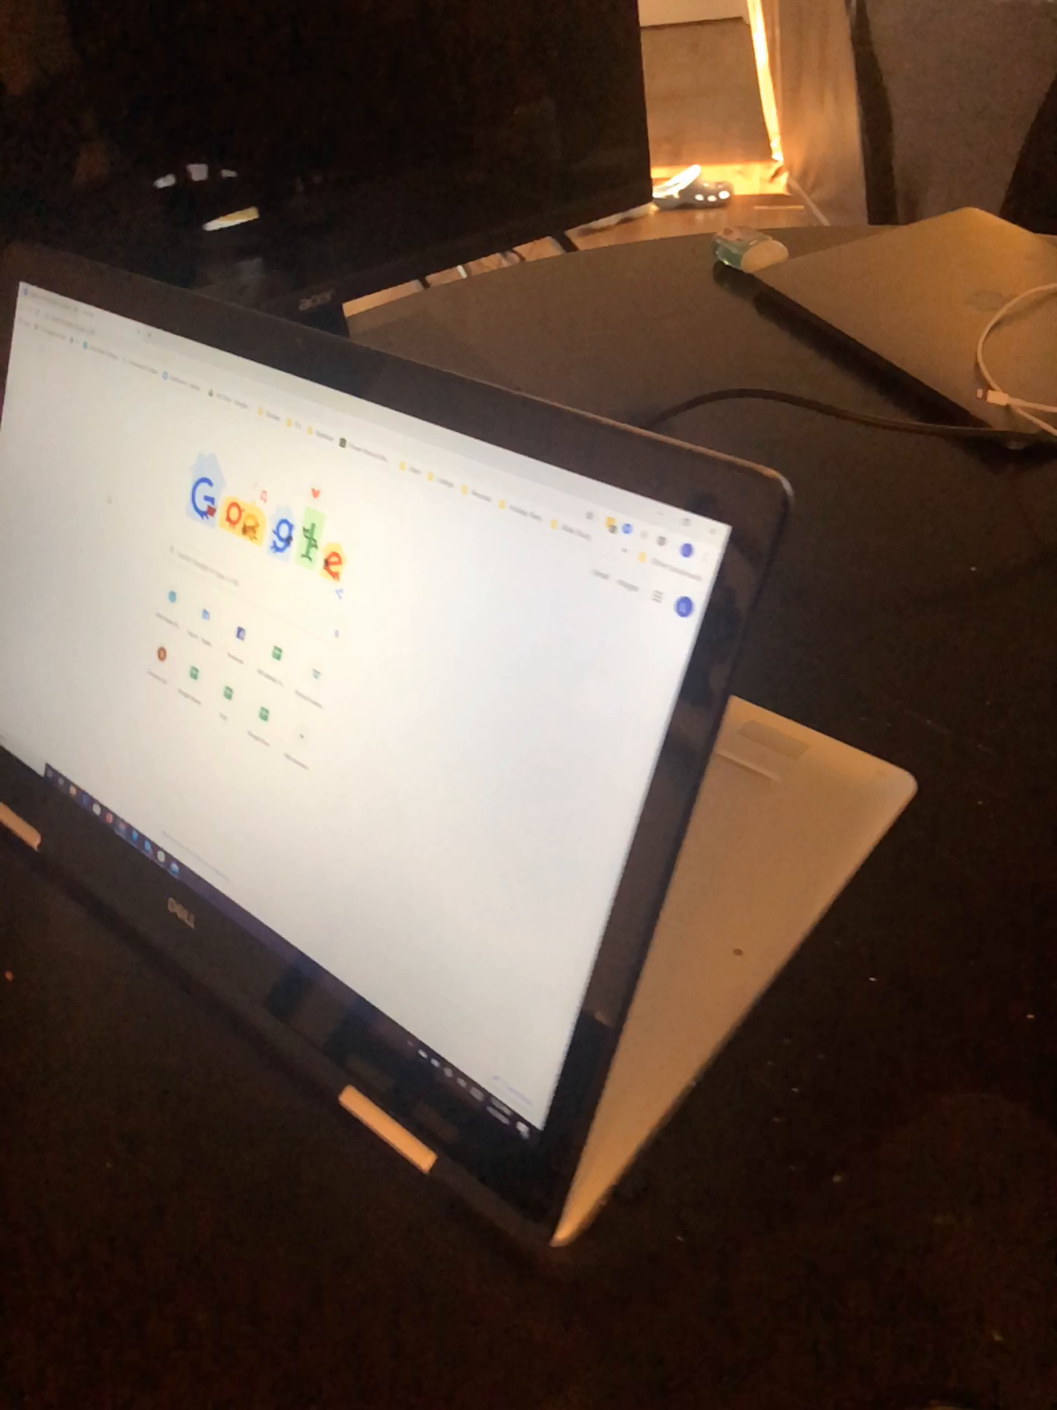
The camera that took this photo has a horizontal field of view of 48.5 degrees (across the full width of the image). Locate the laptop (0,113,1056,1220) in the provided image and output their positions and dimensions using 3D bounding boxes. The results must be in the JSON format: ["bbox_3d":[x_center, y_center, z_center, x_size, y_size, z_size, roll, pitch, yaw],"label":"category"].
[{"bbox_3d":[-0.071,-0.065,0.491,0.420,0.232,0.267,26,52,33],"label":"laptop"}]
